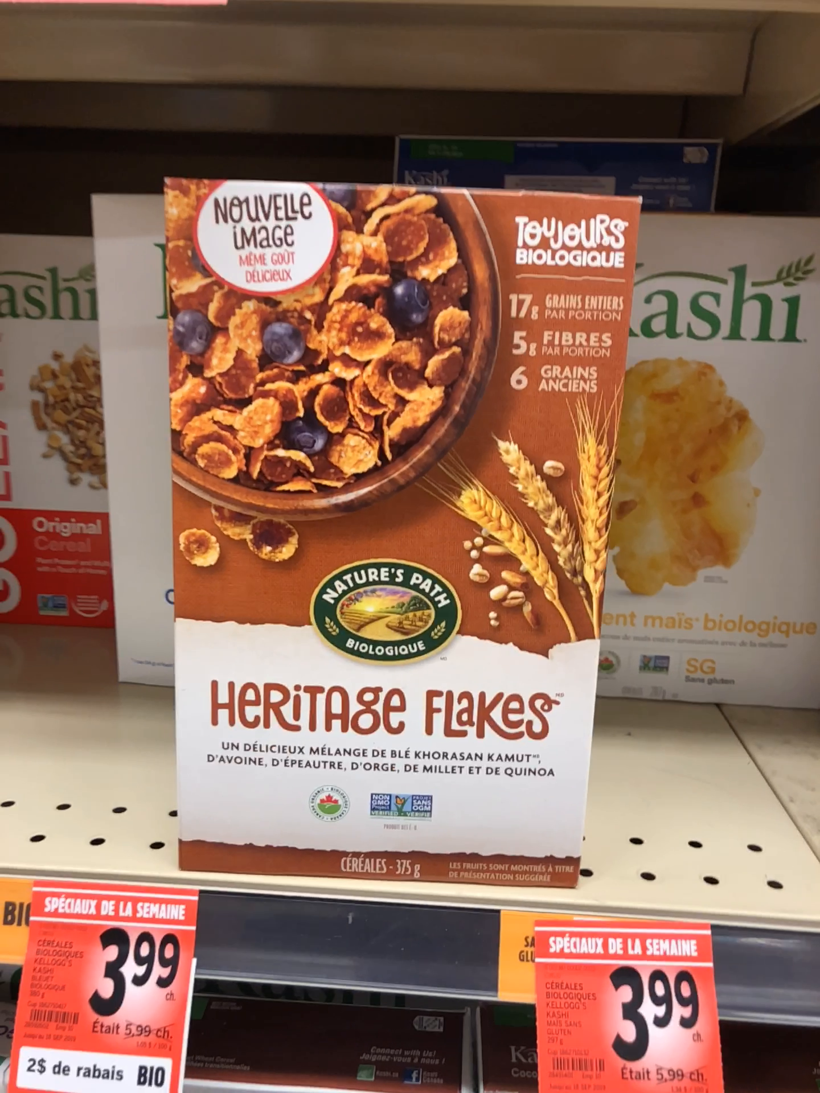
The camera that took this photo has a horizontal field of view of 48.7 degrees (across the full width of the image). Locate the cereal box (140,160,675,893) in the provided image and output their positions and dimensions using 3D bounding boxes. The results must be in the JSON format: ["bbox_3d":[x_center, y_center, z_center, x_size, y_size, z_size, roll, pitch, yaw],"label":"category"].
[{"bbox_3d":[-0.004,-0.004,0.353,0.170,0.259,0.070,2,14,2],"label":"cereal box"}]
